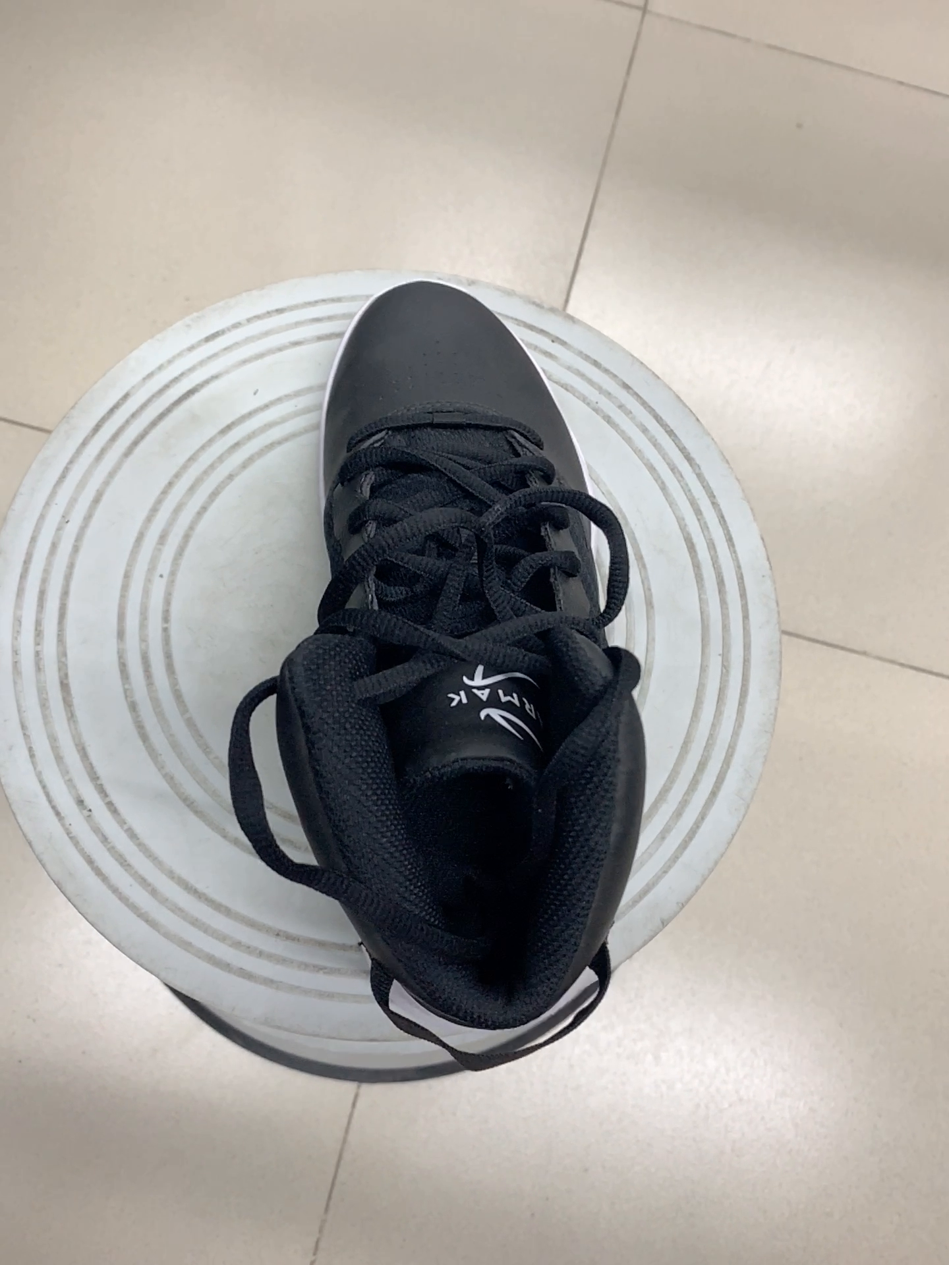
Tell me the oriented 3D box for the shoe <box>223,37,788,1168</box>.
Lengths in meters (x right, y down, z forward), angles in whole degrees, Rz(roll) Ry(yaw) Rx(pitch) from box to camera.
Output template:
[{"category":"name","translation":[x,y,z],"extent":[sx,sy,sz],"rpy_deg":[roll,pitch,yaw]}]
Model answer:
[{"category":"shoe","translation":[-0.006,-0.014,0.251],"extent":[0.090,0.100,0.240],"rpy_deg":[-5,74,-6]}]
